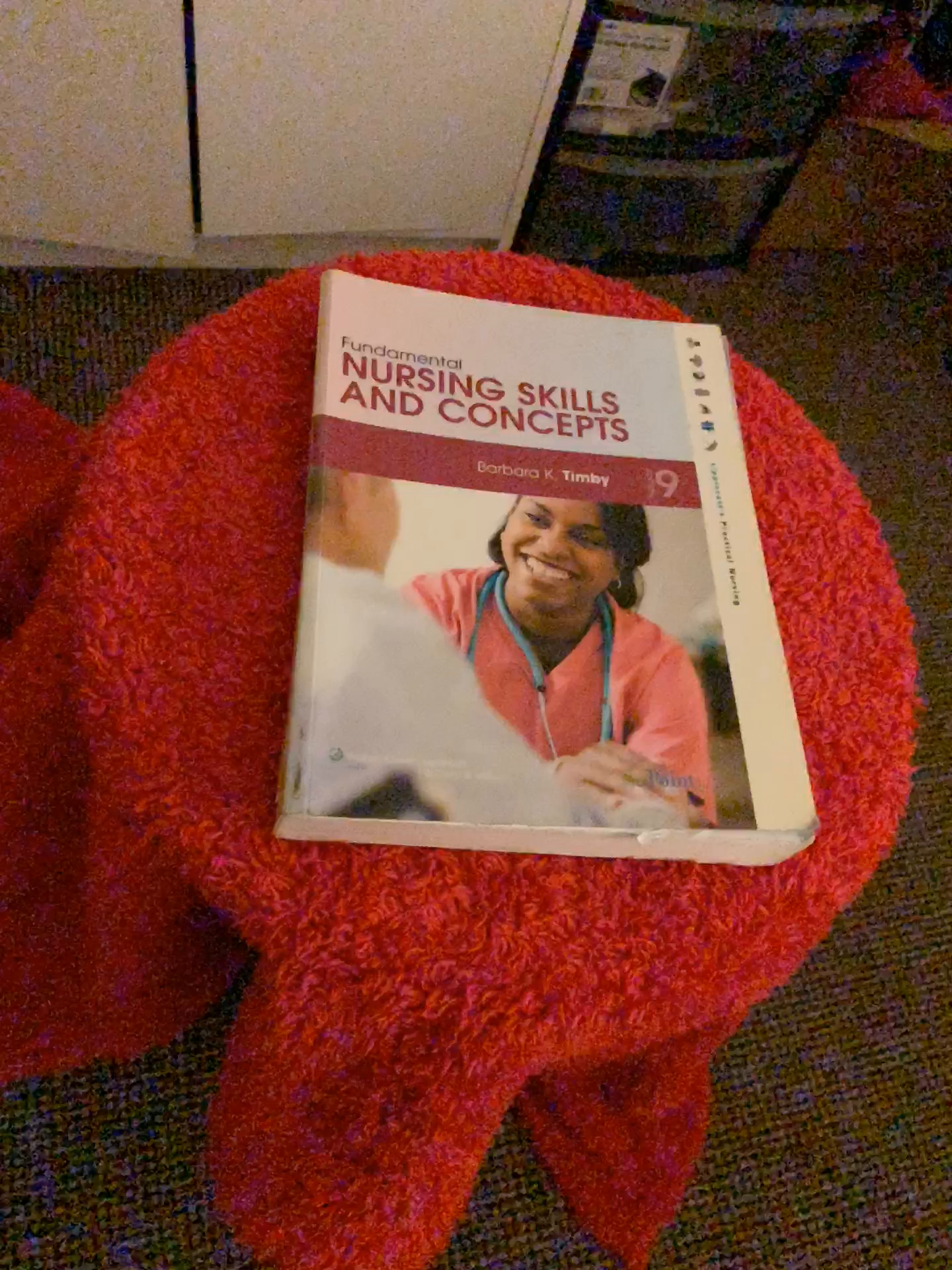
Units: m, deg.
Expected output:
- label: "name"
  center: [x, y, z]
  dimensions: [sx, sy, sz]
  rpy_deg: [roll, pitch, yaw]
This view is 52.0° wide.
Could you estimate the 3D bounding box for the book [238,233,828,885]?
- label: "book"
  center: [0.019, -0.043, 0.469]
  dimensions: [0.230, 0.070, 0.302]
  rpy_deg: [5, 61, -11]
